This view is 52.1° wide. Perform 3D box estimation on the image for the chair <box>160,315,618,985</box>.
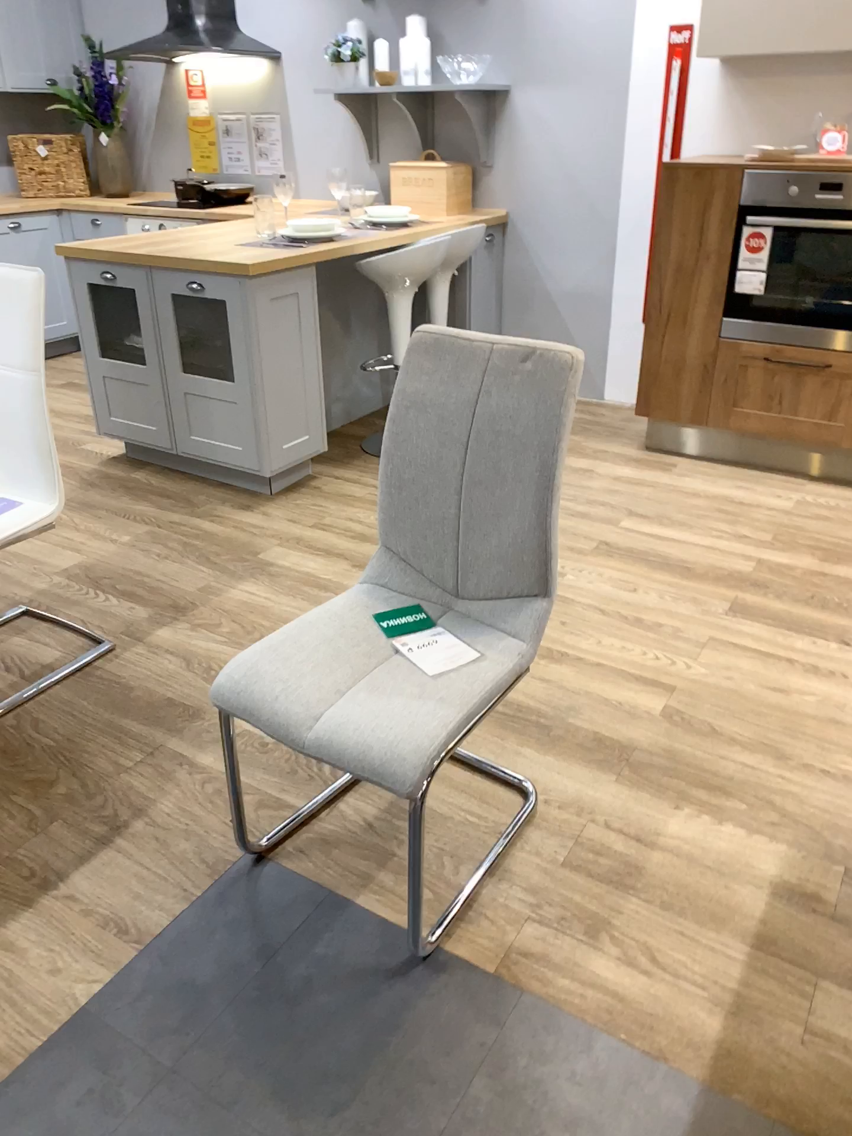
[{"bbox_3d":[-0.034,0.109,1.617,0.491,0.984,0.572,17,32,30],"label":"chair"}]
